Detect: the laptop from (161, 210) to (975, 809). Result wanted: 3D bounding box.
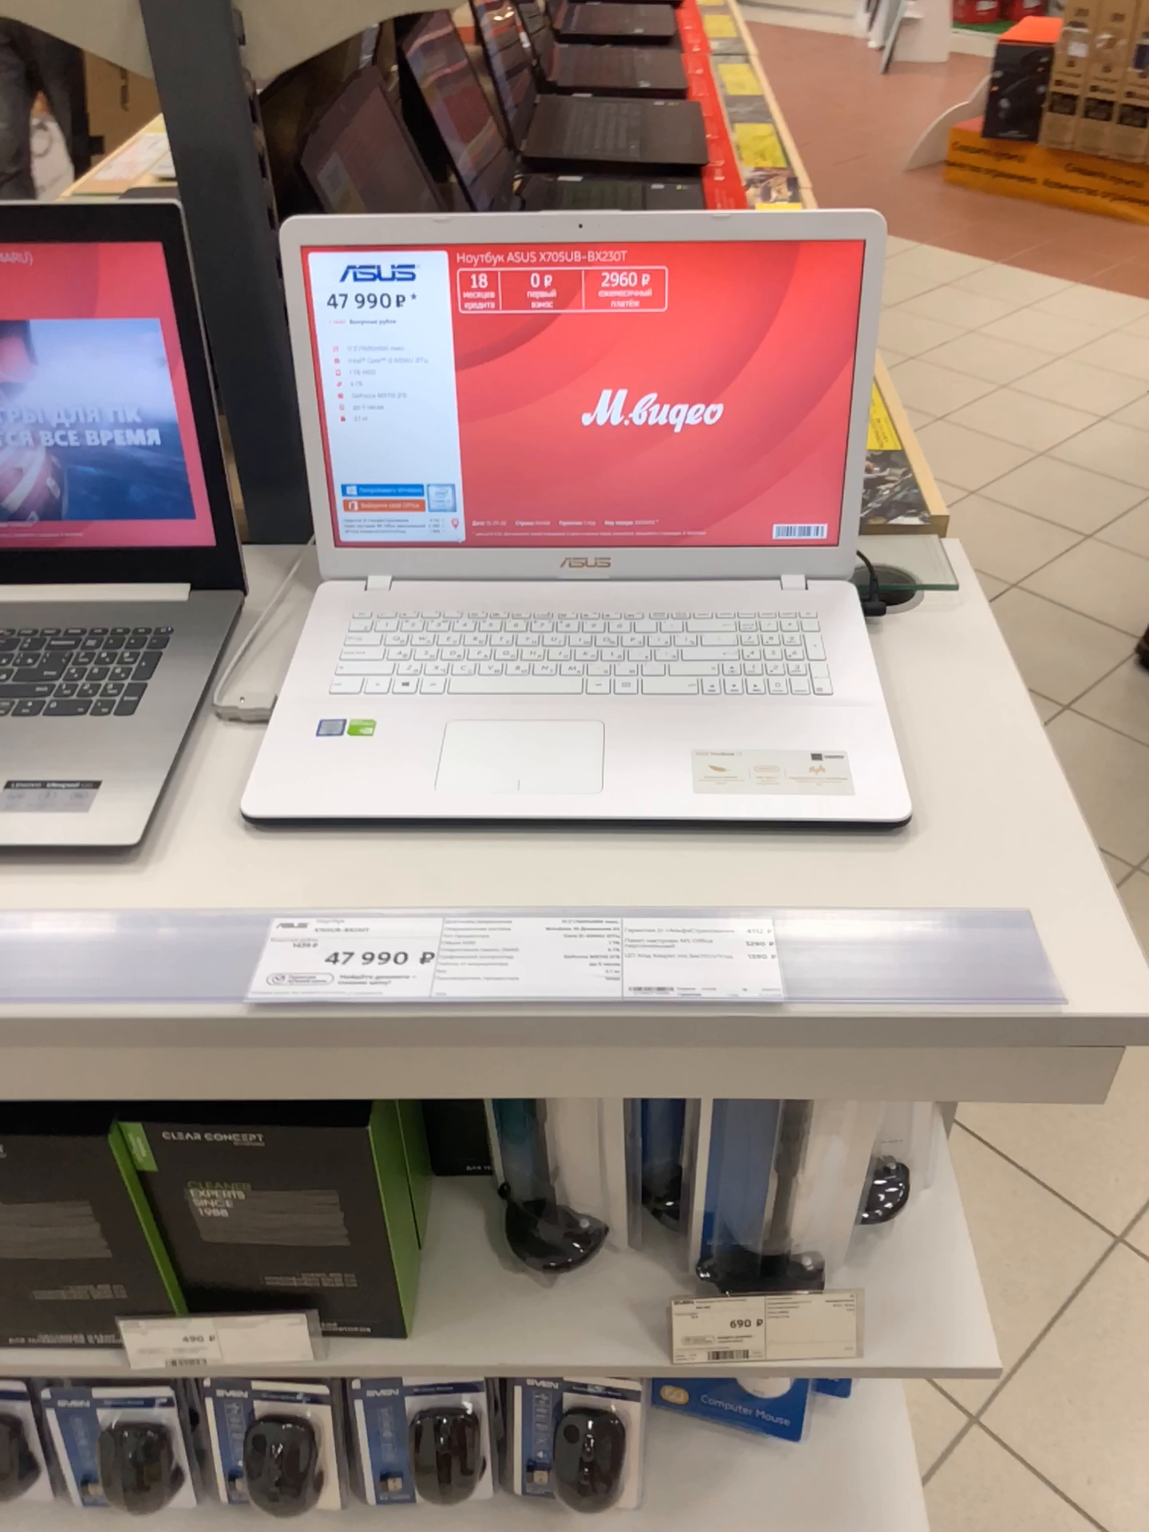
[{"bbox_3d":[-0.006,-0.168,0.781,0.386,0.235,0.302,0,40,2],"label":"laptop"}]
